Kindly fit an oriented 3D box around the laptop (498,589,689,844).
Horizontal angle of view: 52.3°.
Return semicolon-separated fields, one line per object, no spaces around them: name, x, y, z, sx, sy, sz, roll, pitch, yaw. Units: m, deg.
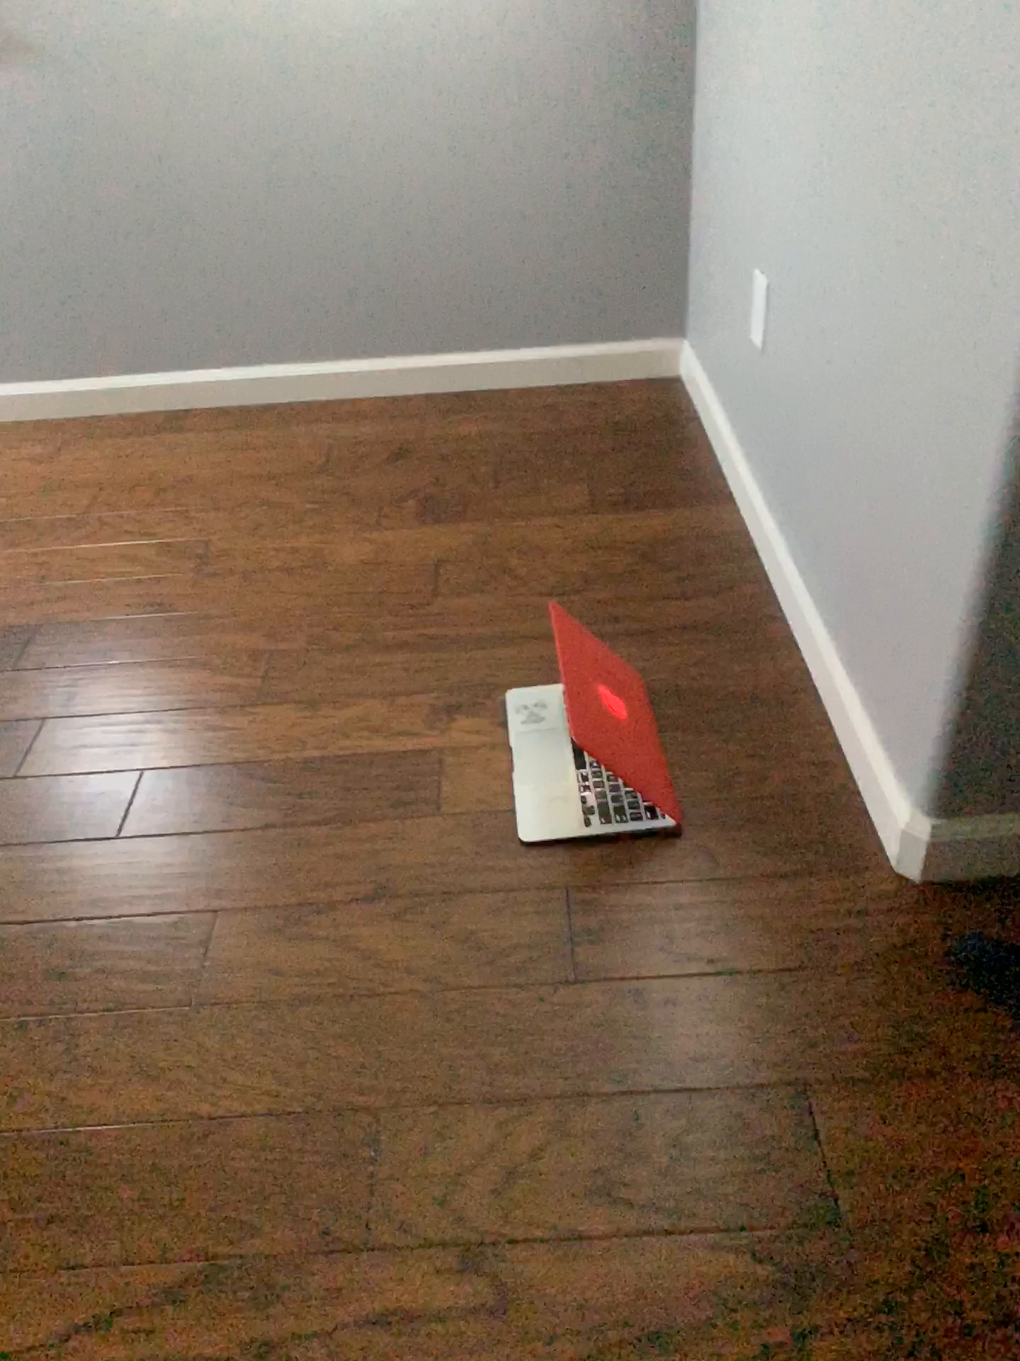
laptop;0.095;0.035;1.305;0.197;0.139;0.303;-5;37;0
